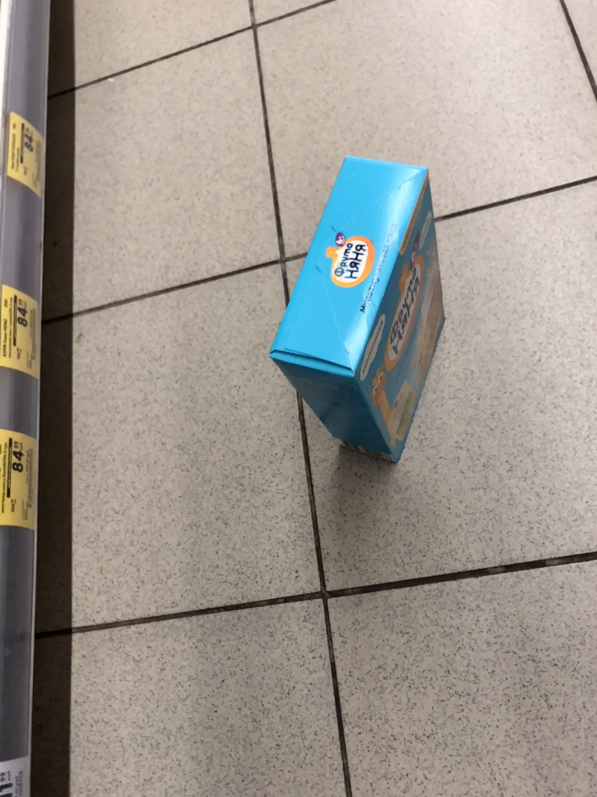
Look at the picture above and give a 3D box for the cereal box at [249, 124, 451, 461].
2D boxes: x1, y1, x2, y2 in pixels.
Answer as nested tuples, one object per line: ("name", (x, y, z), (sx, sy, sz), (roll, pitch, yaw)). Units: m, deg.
("cereal box", (0.049, -0.054, 0.444), (0.060, 0.199, 0.140), (15, 77, 19))
